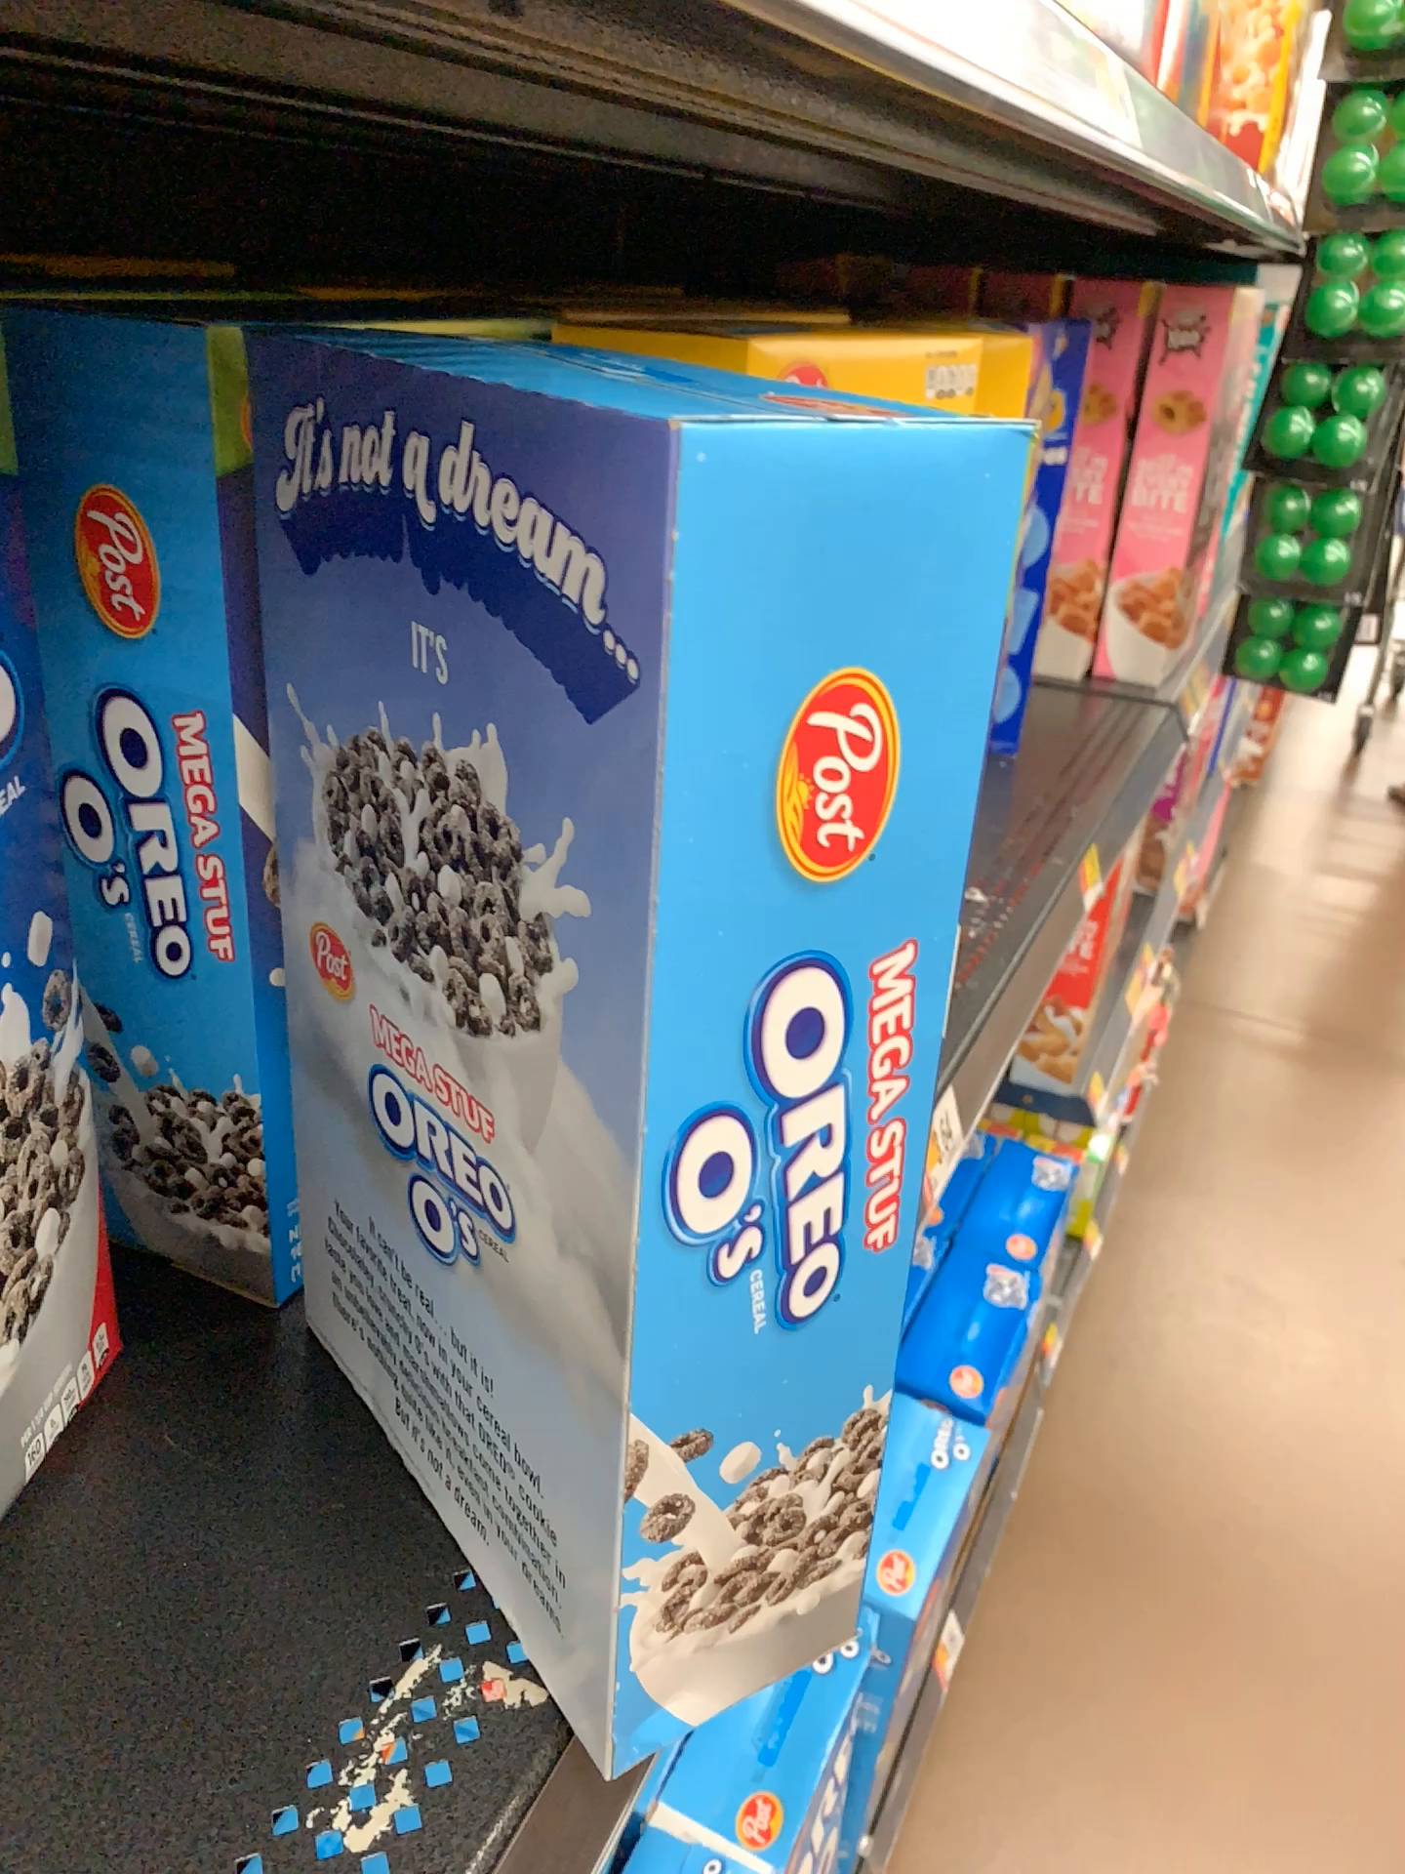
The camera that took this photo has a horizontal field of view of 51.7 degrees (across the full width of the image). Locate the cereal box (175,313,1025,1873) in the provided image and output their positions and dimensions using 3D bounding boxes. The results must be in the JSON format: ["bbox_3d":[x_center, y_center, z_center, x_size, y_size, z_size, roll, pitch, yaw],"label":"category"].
[{"bbox_3d":[-0.050,0.028,0.372,0.080,0.328,0.211,-13,30,-33],"label":"cereal box"}]
